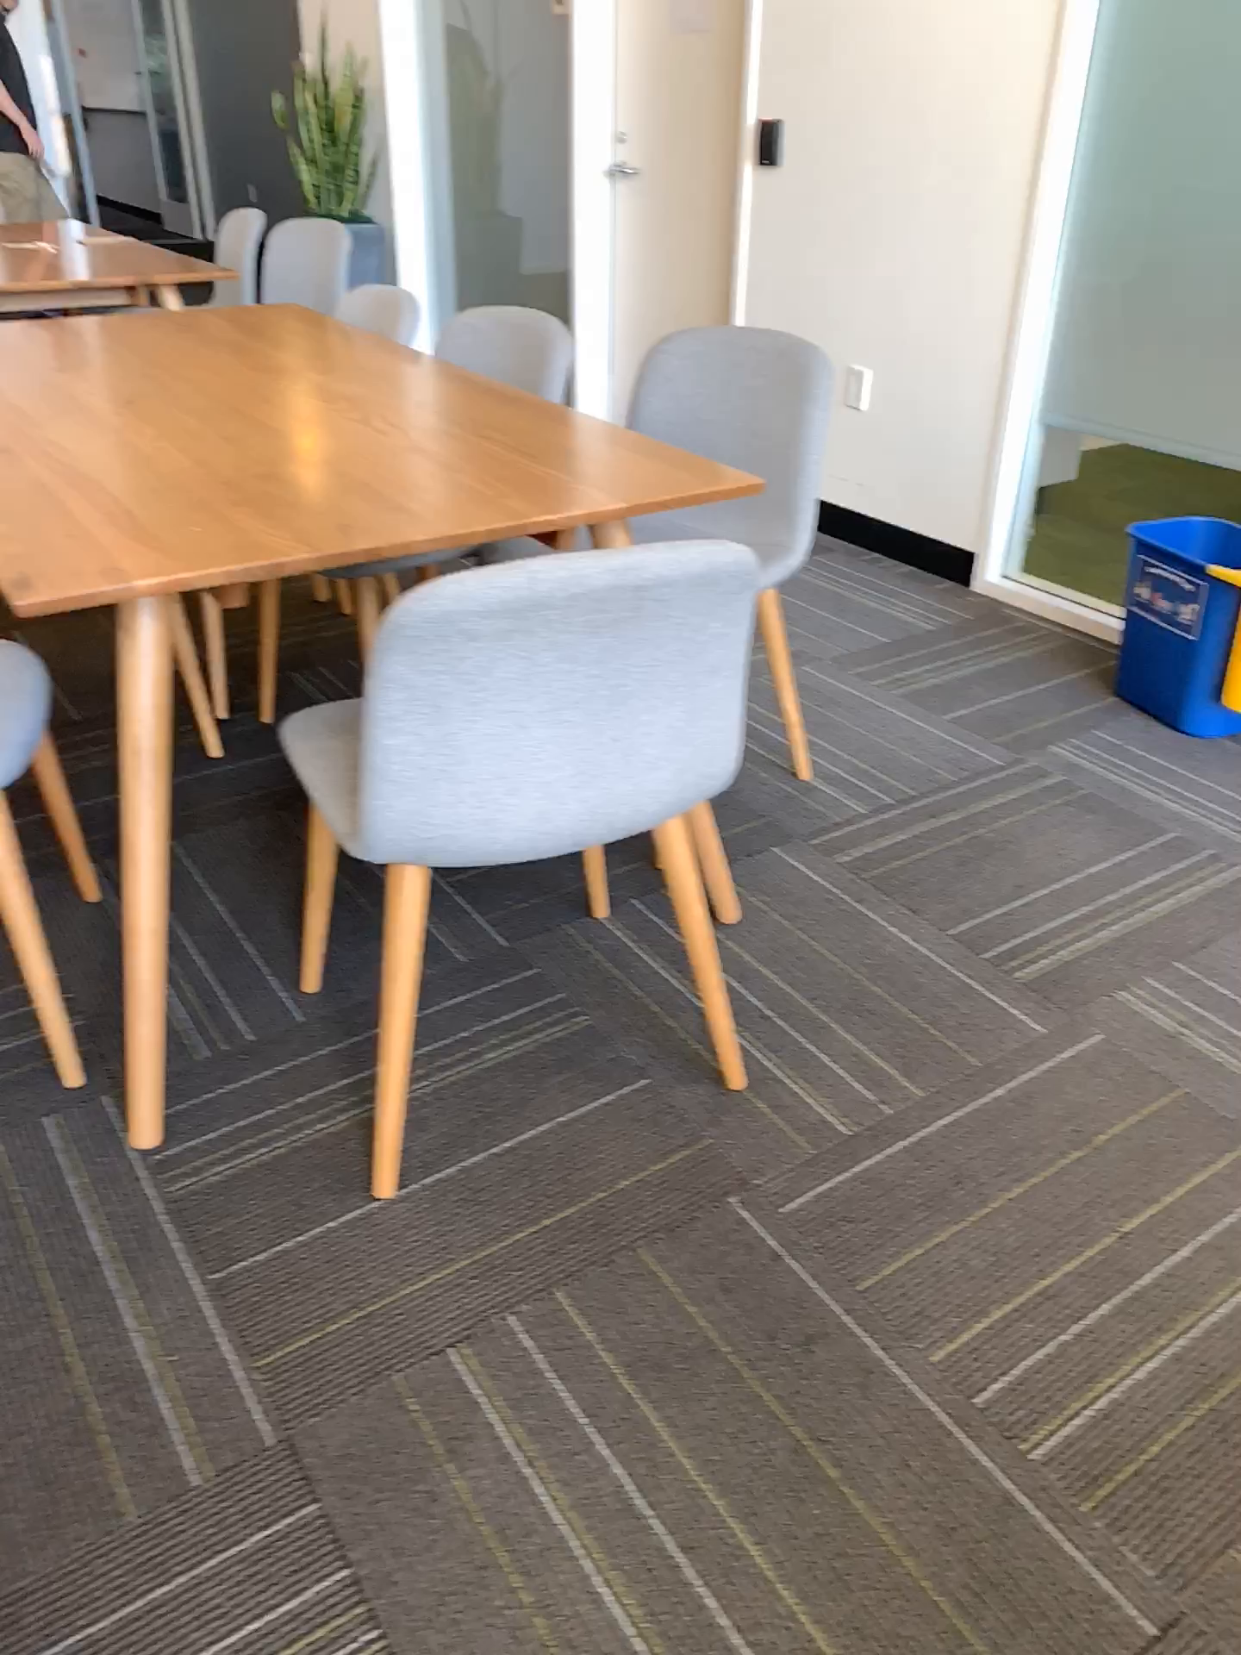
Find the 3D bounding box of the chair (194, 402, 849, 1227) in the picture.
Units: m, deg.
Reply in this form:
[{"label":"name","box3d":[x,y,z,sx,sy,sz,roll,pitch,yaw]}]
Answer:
[{"label":"chair","box3d":[-0.141,-0.057,1.574,0.560,0.775,0.533,-12,32,-22]}]

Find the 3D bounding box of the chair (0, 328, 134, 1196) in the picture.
[{"label":"chair","box3d":[-1.053,-0.154,1.657,0.630,0.815,0.764,-8,31,-15]}]
